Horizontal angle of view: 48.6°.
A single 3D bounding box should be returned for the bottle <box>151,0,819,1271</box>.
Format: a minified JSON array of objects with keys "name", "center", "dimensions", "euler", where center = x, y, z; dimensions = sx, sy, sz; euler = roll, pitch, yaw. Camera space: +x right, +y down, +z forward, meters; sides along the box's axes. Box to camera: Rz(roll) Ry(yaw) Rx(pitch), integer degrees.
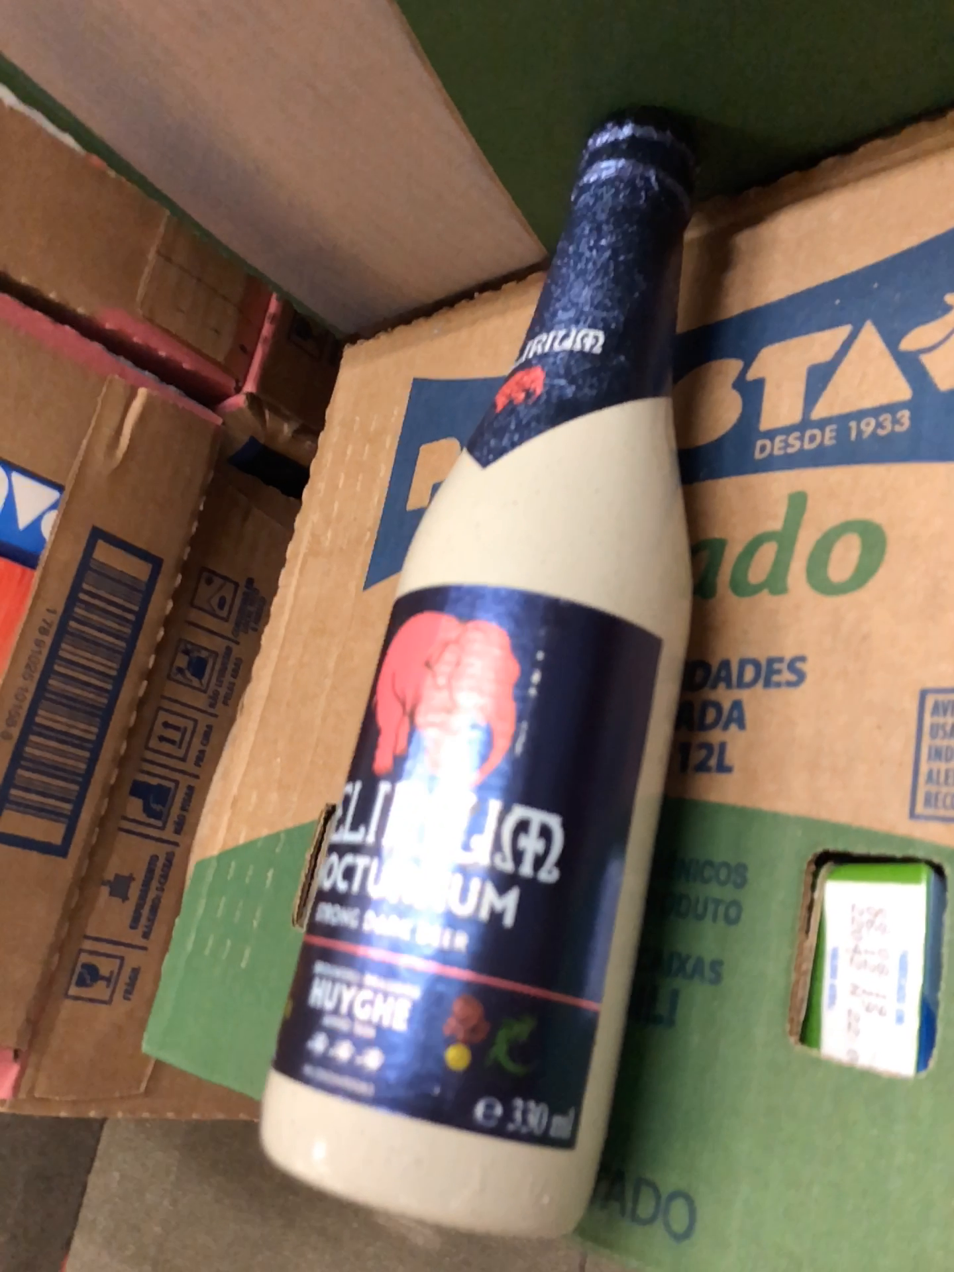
[{"name":"bottle","center":[0.013,-0.023,0.210],"dimensions":[0.060,0.050,0.250],"euler":[-5,64,44]}]
